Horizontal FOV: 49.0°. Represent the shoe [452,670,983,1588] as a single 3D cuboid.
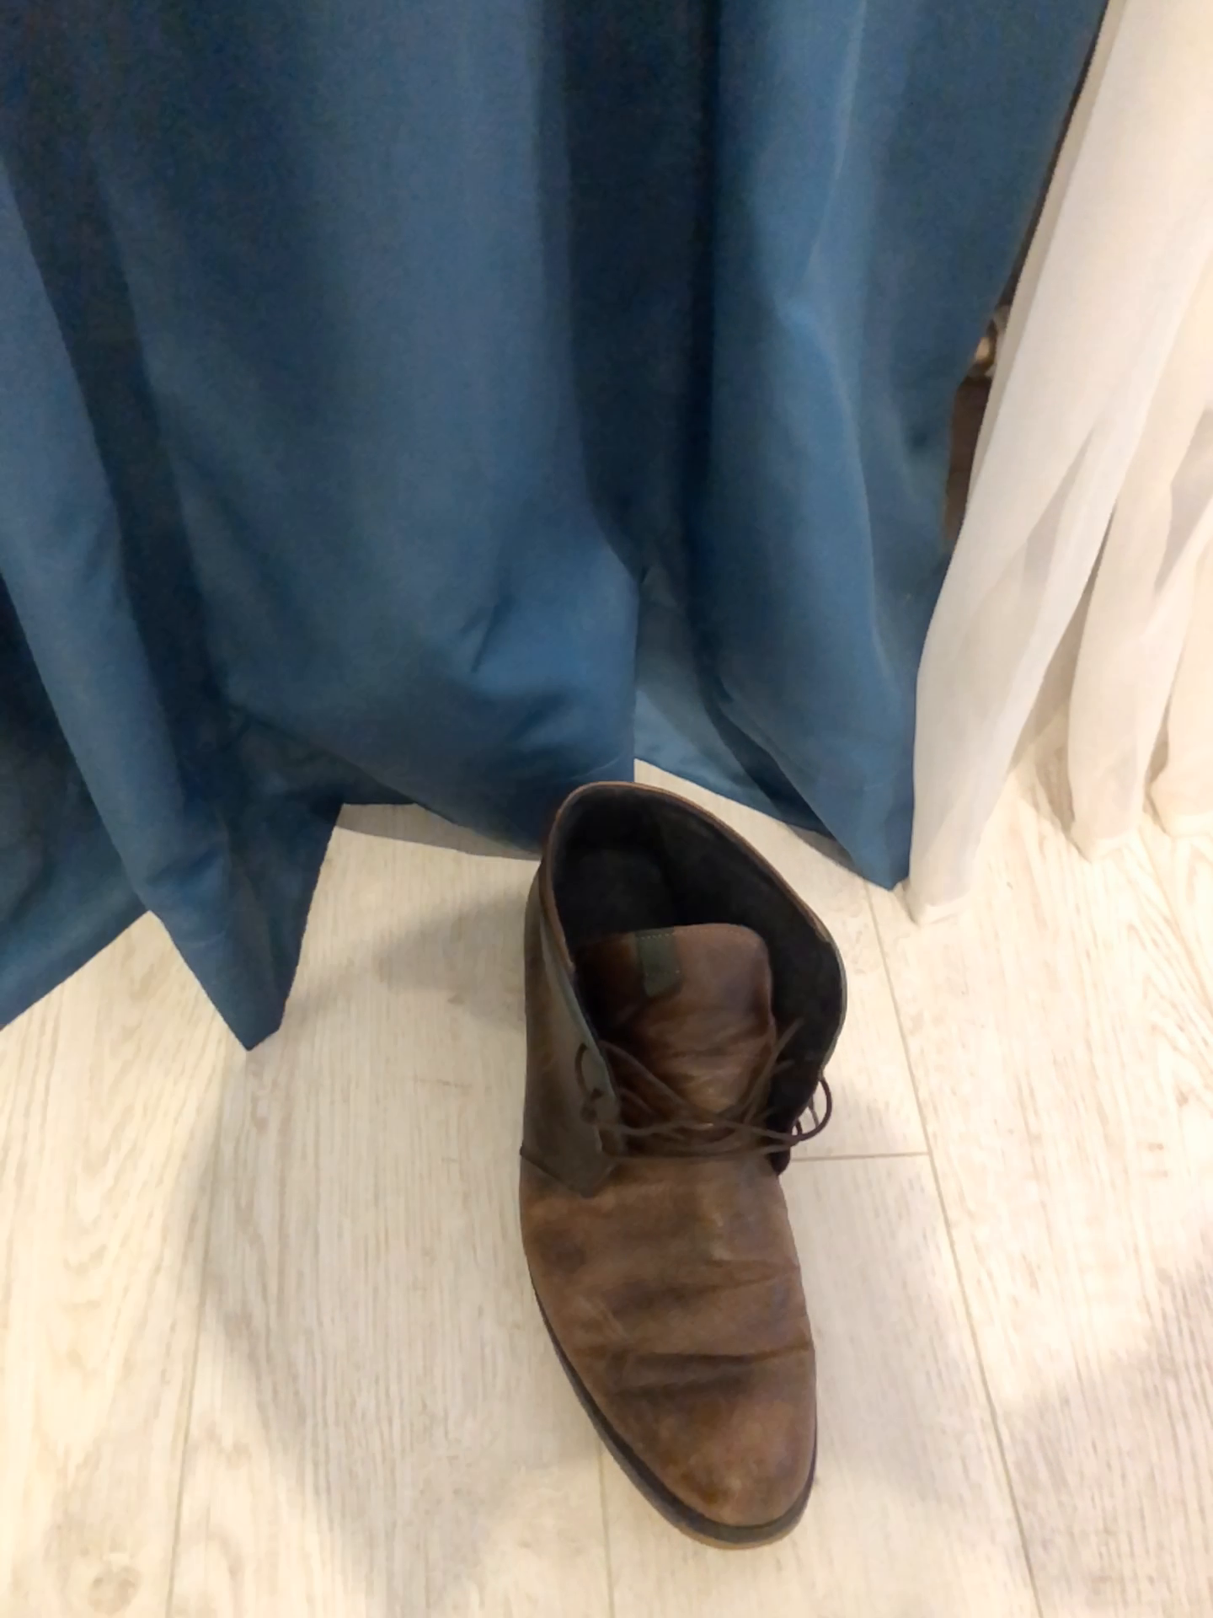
[{"bbox_3d":[0.019,0.118,0.556,0.130,0.159,0.322,-6,52,-9],"label":"shoe"}]
